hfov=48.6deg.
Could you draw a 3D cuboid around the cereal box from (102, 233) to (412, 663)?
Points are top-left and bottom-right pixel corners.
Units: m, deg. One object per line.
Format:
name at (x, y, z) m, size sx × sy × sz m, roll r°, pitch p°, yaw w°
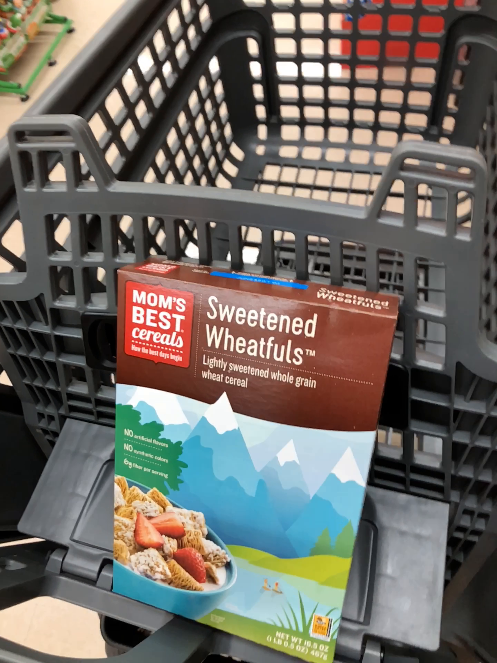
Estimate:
cereal box at (-0.004, 0.086, 0.429) m, size 0.200 × 0.290 × 0.080 m, roll 11°, pitch 20°, yaw 15°
